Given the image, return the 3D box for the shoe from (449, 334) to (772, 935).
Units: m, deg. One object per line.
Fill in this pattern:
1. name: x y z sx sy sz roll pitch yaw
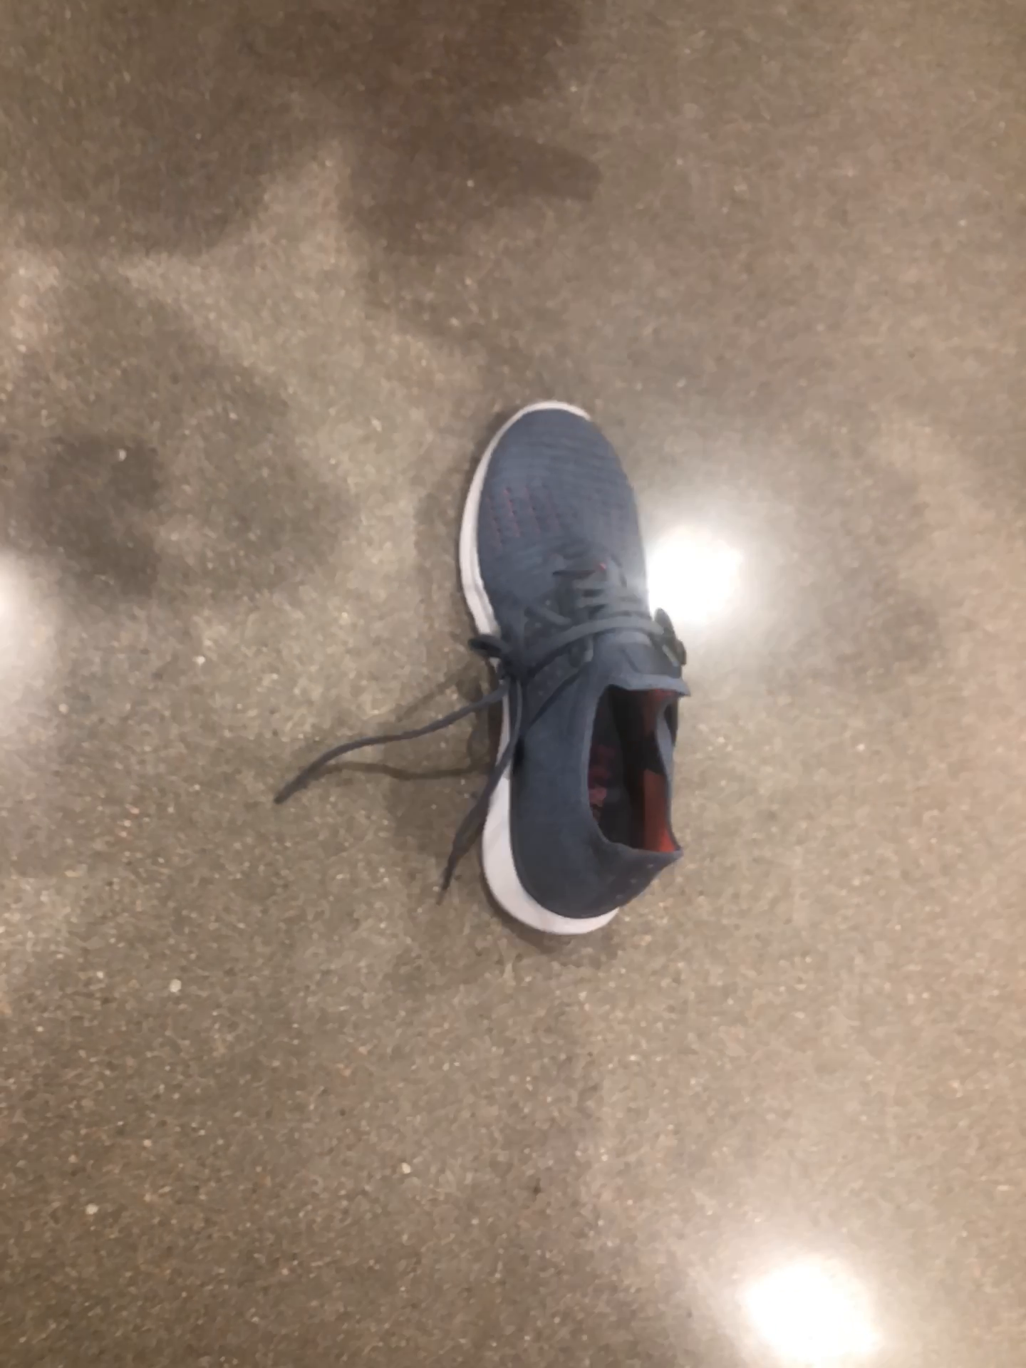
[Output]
1. shoe: 0.037 -0.014 0.532 0.100 0.110 0.250 5 74 -22
